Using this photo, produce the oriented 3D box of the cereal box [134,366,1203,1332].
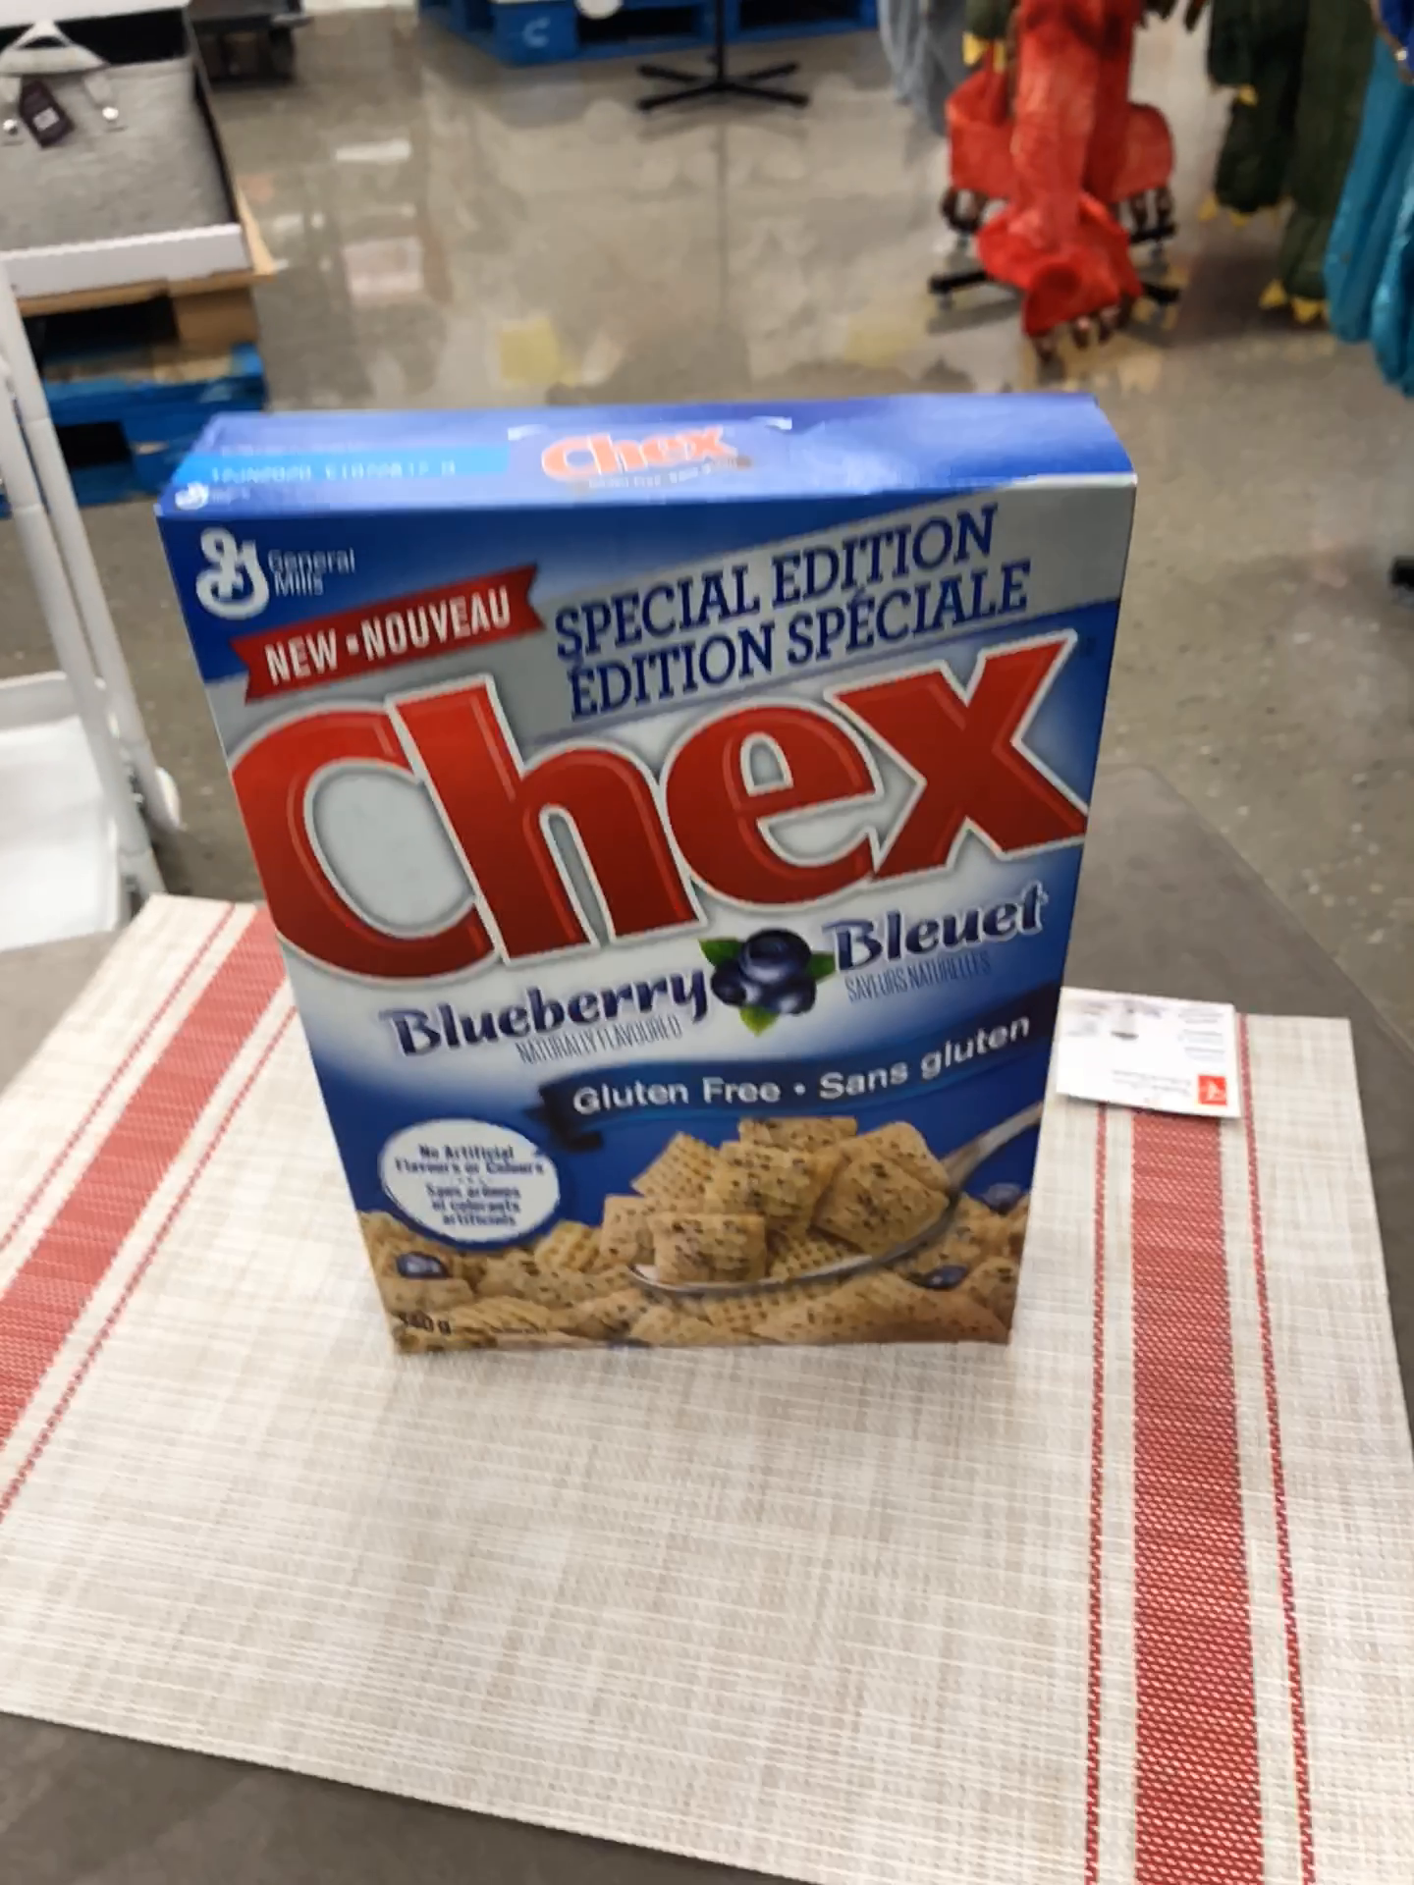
[{"bbox_3d":[-0.005,-0.004,0.397,0.200,0.259,0.050,-1,39,1],"label":"cereal box"}]
